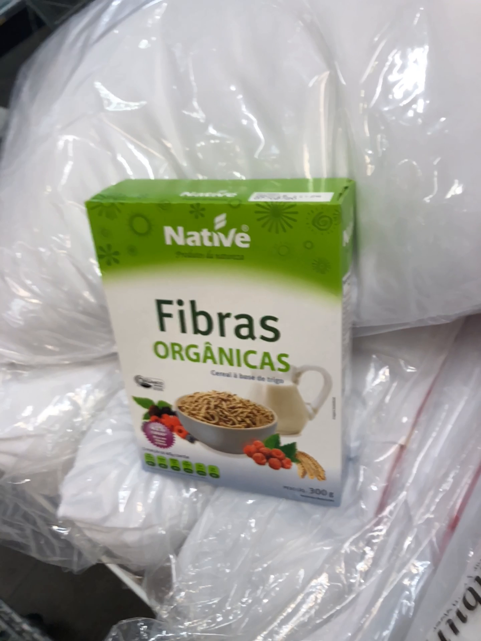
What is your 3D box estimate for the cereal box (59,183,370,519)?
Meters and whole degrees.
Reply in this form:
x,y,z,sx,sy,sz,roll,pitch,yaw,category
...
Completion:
x,y,z,sx,sy,sz,roll,pitch,yaw,category
-0.009,0.021,0.394,0.190,0.229,0.060,5,30,20,cereal box
